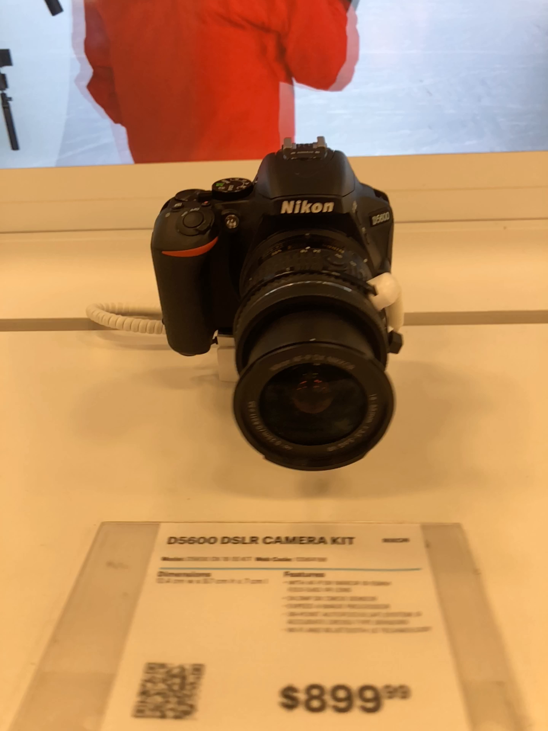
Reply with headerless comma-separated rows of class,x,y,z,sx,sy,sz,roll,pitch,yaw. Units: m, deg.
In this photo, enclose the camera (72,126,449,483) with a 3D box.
camera,-0.003,-0.045,0.299,0.120,0.090,0.191,-2,34,2
